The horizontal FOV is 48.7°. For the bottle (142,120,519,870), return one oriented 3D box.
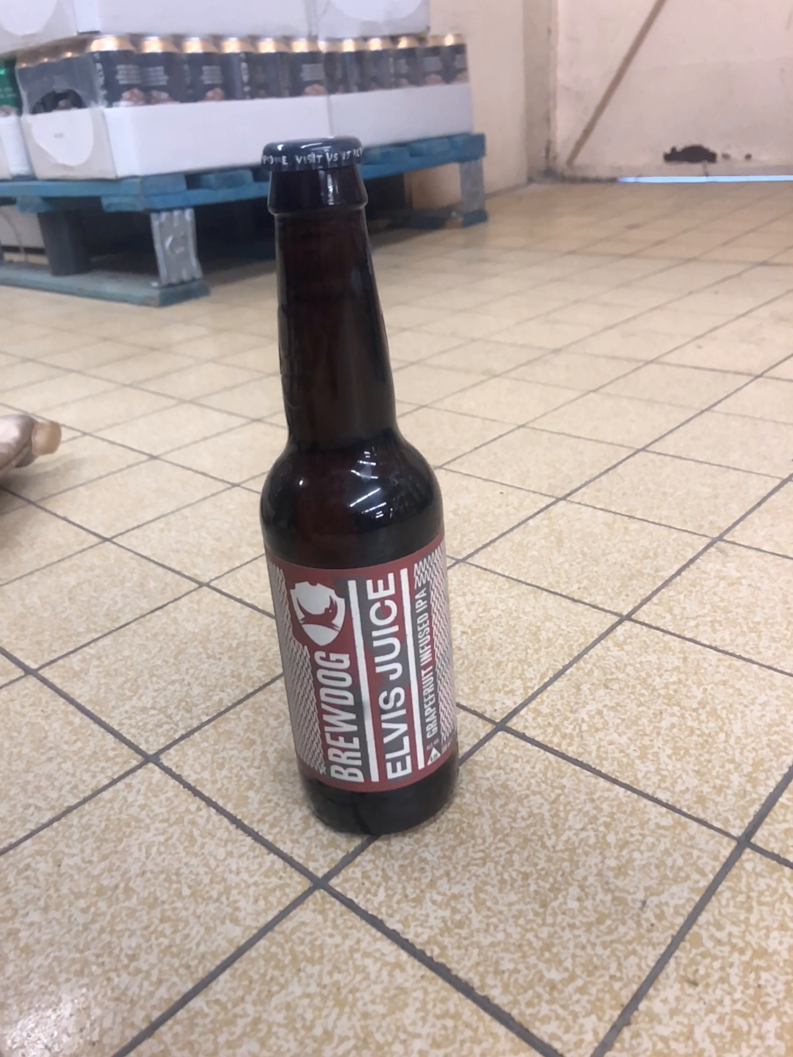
[{"bbox_3d":[-0.008,-0.008,0.270,0.070,0.209,0.070,-4,25,2],"label":"bottle"}]
